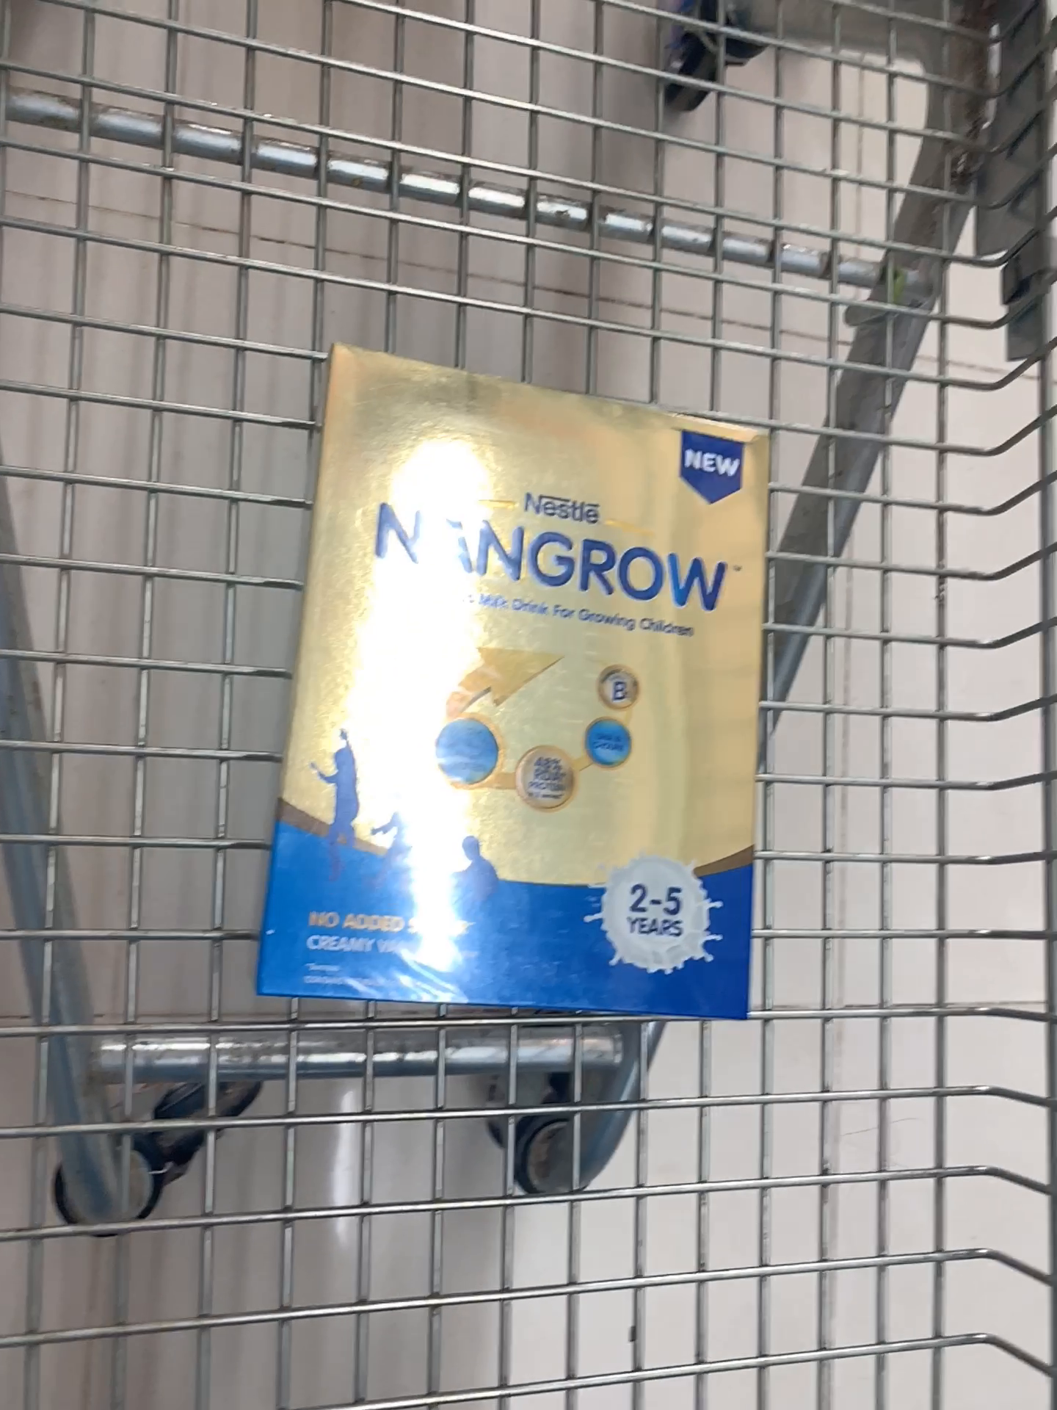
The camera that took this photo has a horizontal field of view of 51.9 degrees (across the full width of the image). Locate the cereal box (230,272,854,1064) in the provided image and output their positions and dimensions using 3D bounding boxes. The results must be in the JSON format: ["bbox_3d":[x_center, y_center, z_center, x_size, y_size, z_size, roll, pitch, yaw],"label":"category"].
[{"bbox_3d":[0.004,-0.004,0.316,0.150,0.060,0.190,8,85,-16],"label":"cereal box"}]
